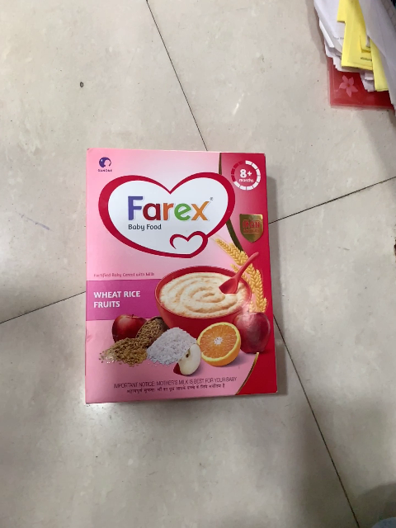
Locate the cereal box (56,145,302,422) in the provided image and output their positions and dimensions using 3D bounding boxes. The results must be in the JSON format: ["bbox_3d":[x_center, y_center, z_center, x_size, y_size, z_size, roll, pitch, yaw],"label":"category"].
[{"bbox_3d":[-0.016,0.011,0.315,0.170,0.050,0.190,-1,83,-9],"label":"cereal box"}]
